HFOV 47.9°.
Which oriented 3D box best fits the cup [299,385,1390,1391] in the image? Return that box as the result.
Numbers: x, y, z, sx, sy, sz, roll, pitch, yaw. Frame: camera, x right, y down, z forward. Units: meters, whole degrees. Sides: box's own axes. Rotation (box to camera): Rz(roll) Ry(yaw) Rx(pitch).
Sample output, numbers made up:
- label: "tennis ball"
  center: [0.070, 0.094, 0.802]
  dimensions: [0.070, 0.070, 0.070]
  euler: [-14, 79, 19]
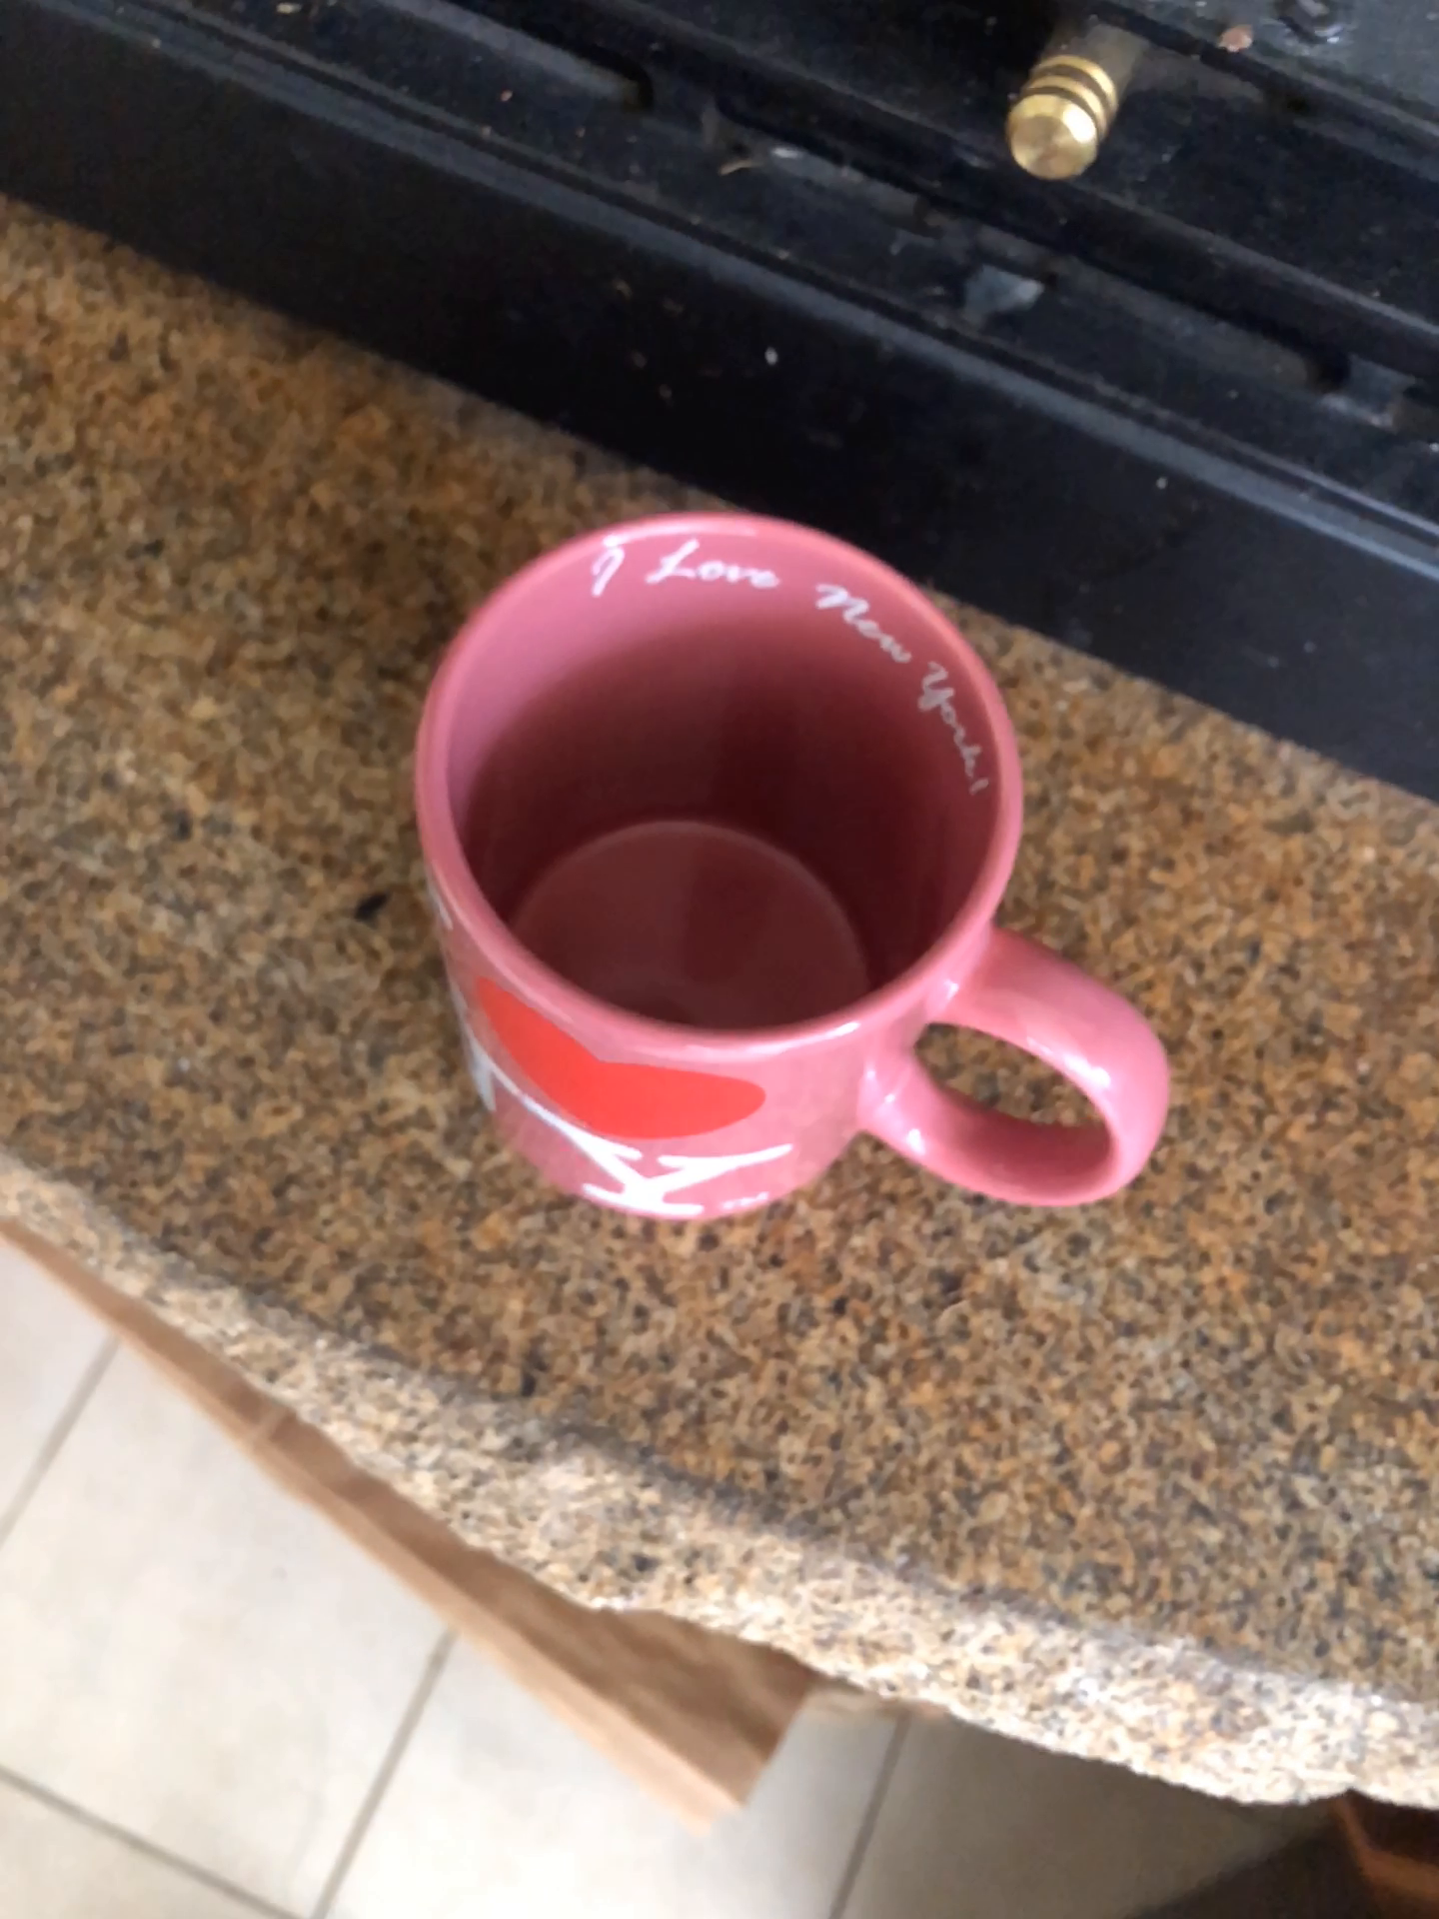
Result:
- label: "cup"
  center: [0.017, -0.003, 0.257]
  dimensions: [0.120, 0.100, 0.090]
  euler: [22, 68, 3]
